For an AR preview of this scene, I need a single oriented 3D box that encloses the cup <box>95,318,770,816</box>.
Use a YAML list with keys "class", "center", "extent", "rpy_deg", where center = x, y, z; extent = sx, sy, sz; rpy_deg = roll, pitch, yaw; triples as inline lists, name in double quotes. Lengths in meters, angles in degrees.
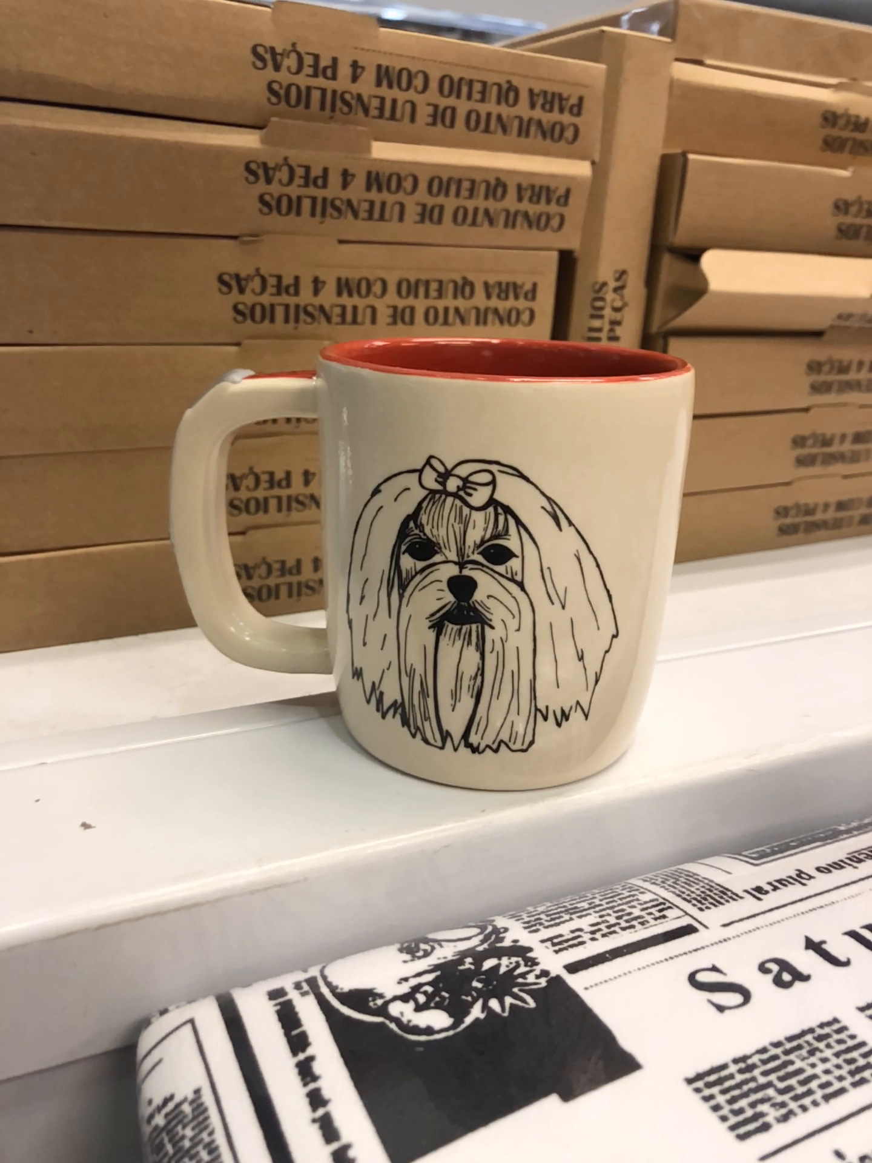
- class: "cup"
  center: [-0.002, -0.011, 0.230]
  extent: [0.120, 0.089, 0.091]
  rpy_deg: [2, 19, -1]
